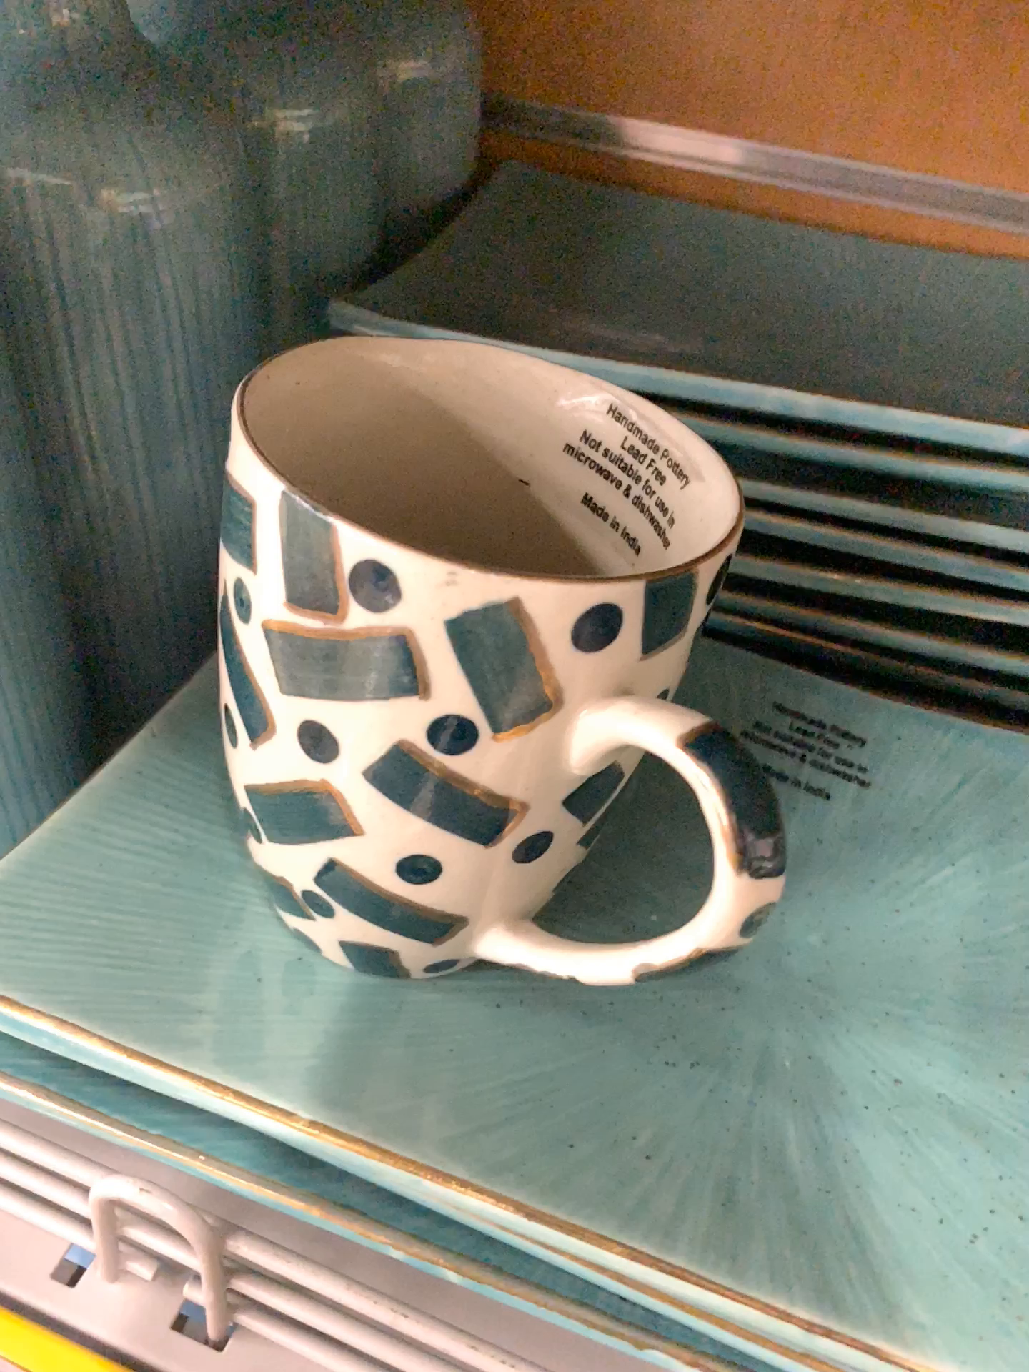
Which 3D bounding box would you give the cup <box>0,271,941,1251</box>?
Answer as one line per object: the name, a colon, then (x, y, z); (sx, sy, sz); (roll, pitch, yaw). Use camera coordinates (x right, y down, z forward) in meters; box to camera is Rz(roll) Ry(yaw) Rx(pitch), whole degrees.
cup: (-0.016, 0.000, 0.166); (0.110, 0.080, 0.080); (34, 39, 22)
